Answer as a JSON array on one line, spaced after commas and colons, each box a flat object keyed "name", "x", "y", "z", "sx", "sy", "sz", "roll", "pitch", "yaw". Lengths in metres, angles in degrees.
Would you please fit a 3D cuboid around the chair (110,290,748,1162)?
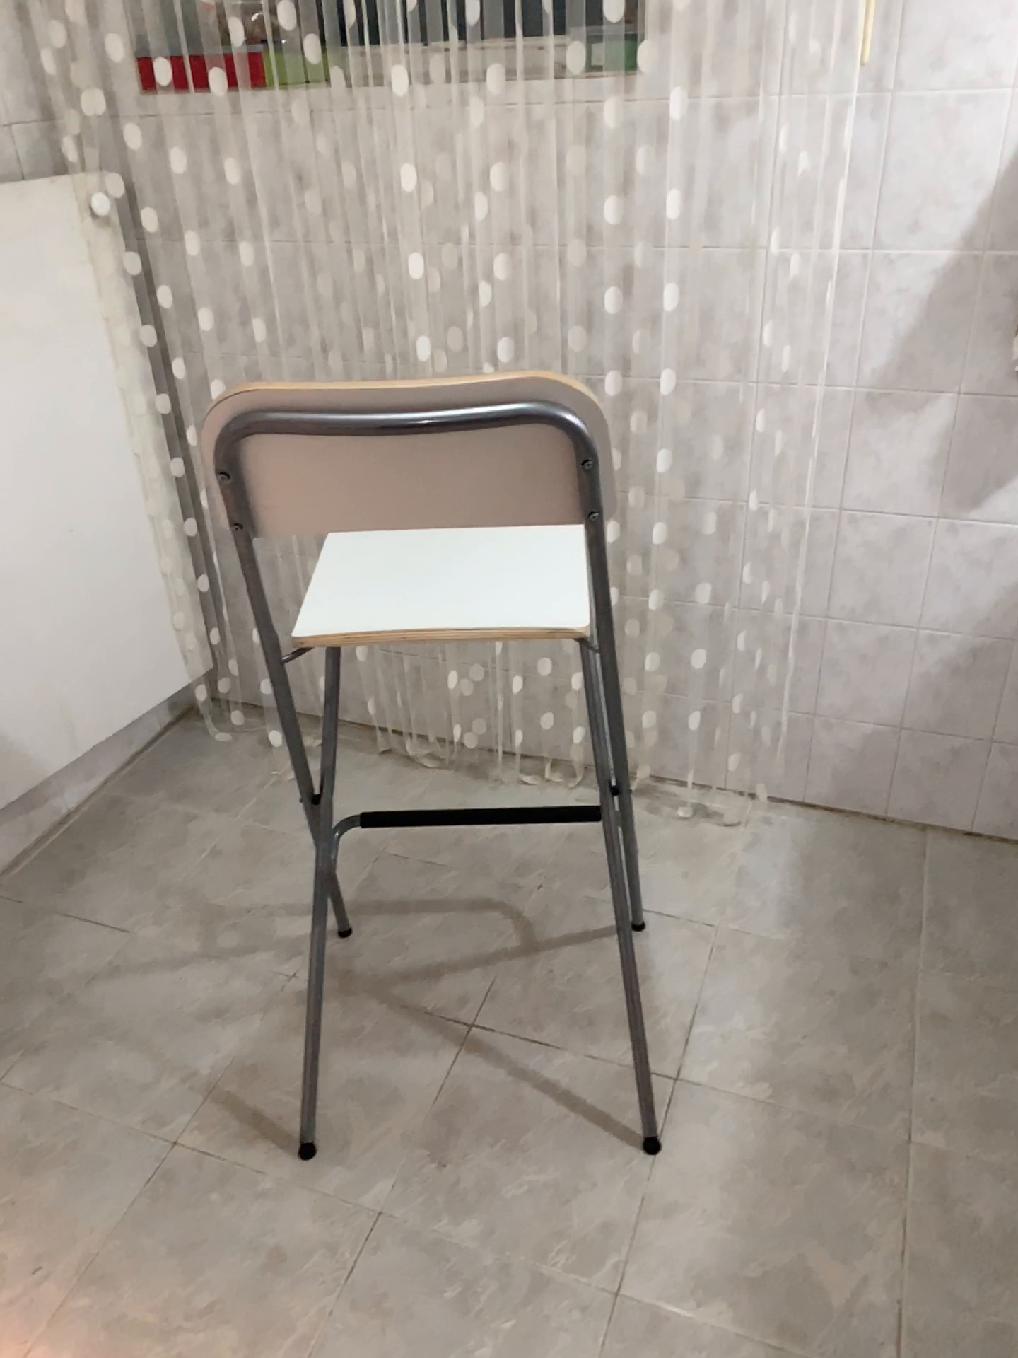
[{"name": "chair", "x": -0.053, "y": 0.085, "z": 1.326, "sx": 0.537, "sy": 1.008, "sz": 0.468, "roll": -1, "pitch": 31, "yaw": 1}]
